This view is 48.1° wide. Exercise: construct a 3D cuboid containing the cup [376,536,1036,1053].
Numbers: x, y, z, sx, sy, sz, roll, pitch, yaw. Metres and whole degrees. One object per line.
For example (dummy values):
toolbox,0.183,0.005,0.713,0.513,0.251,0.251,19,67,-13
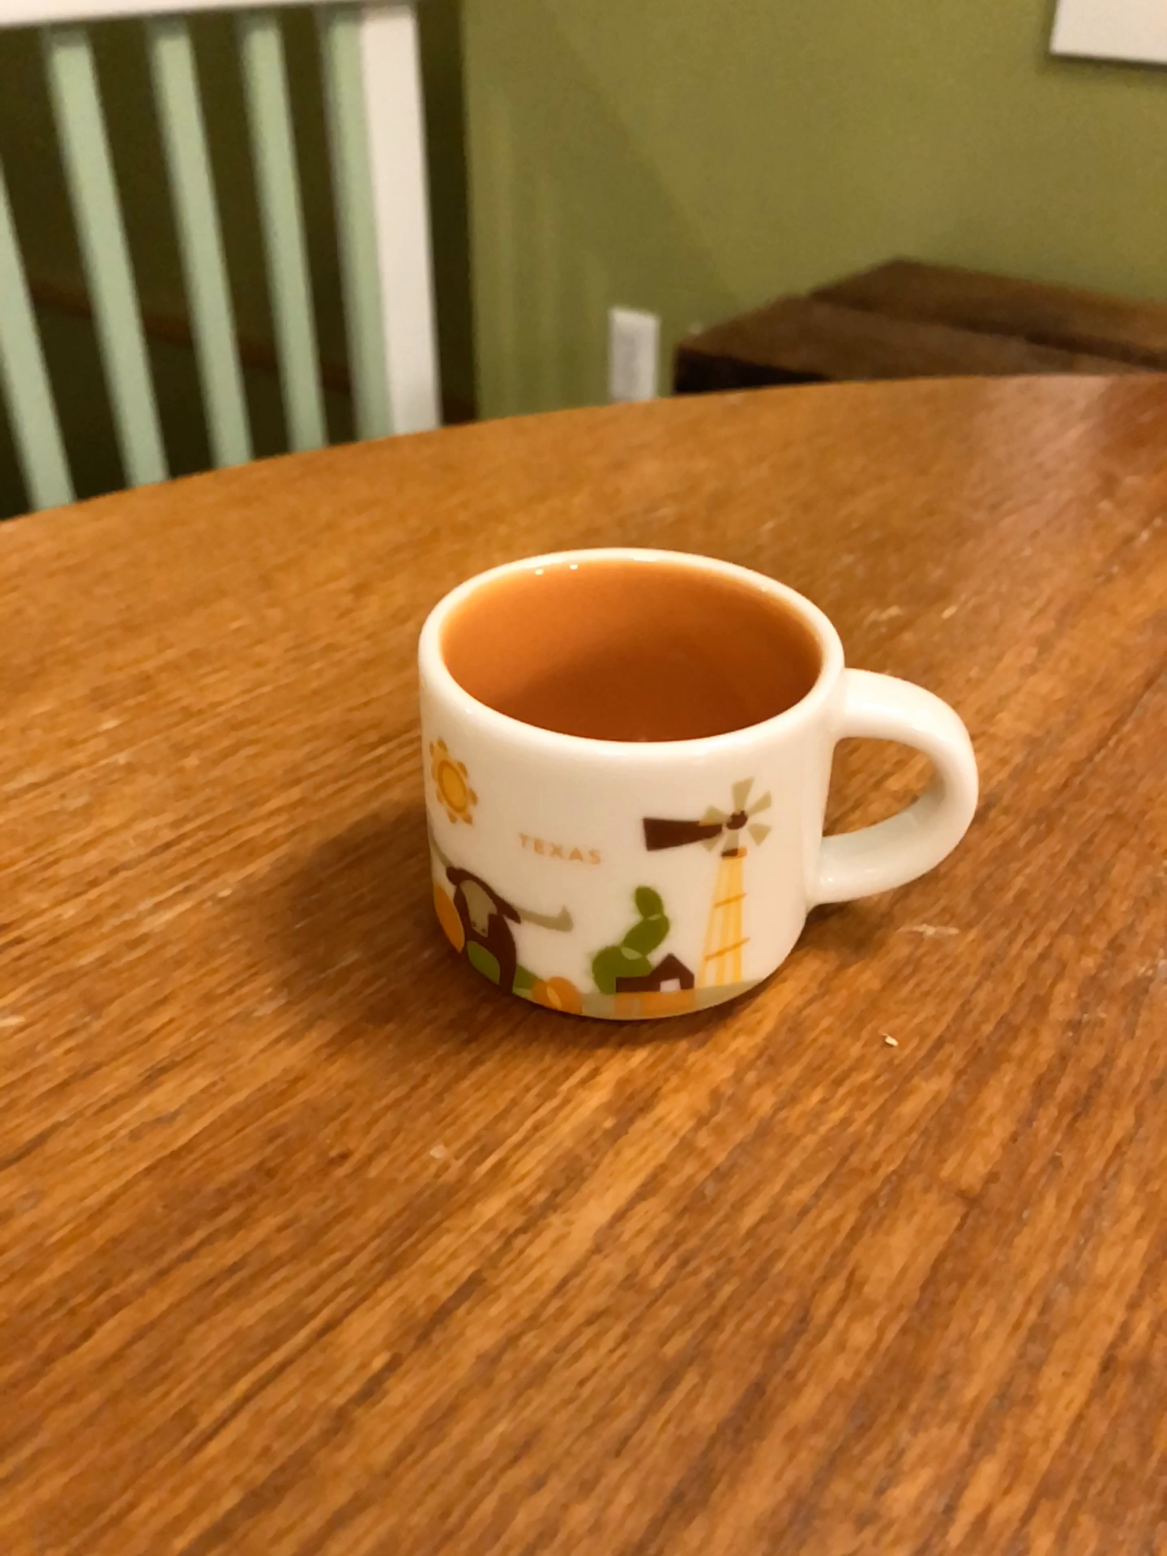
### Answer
cup,0.016,0.000,0.197,0.080,0.049,0.060,3,34,3
